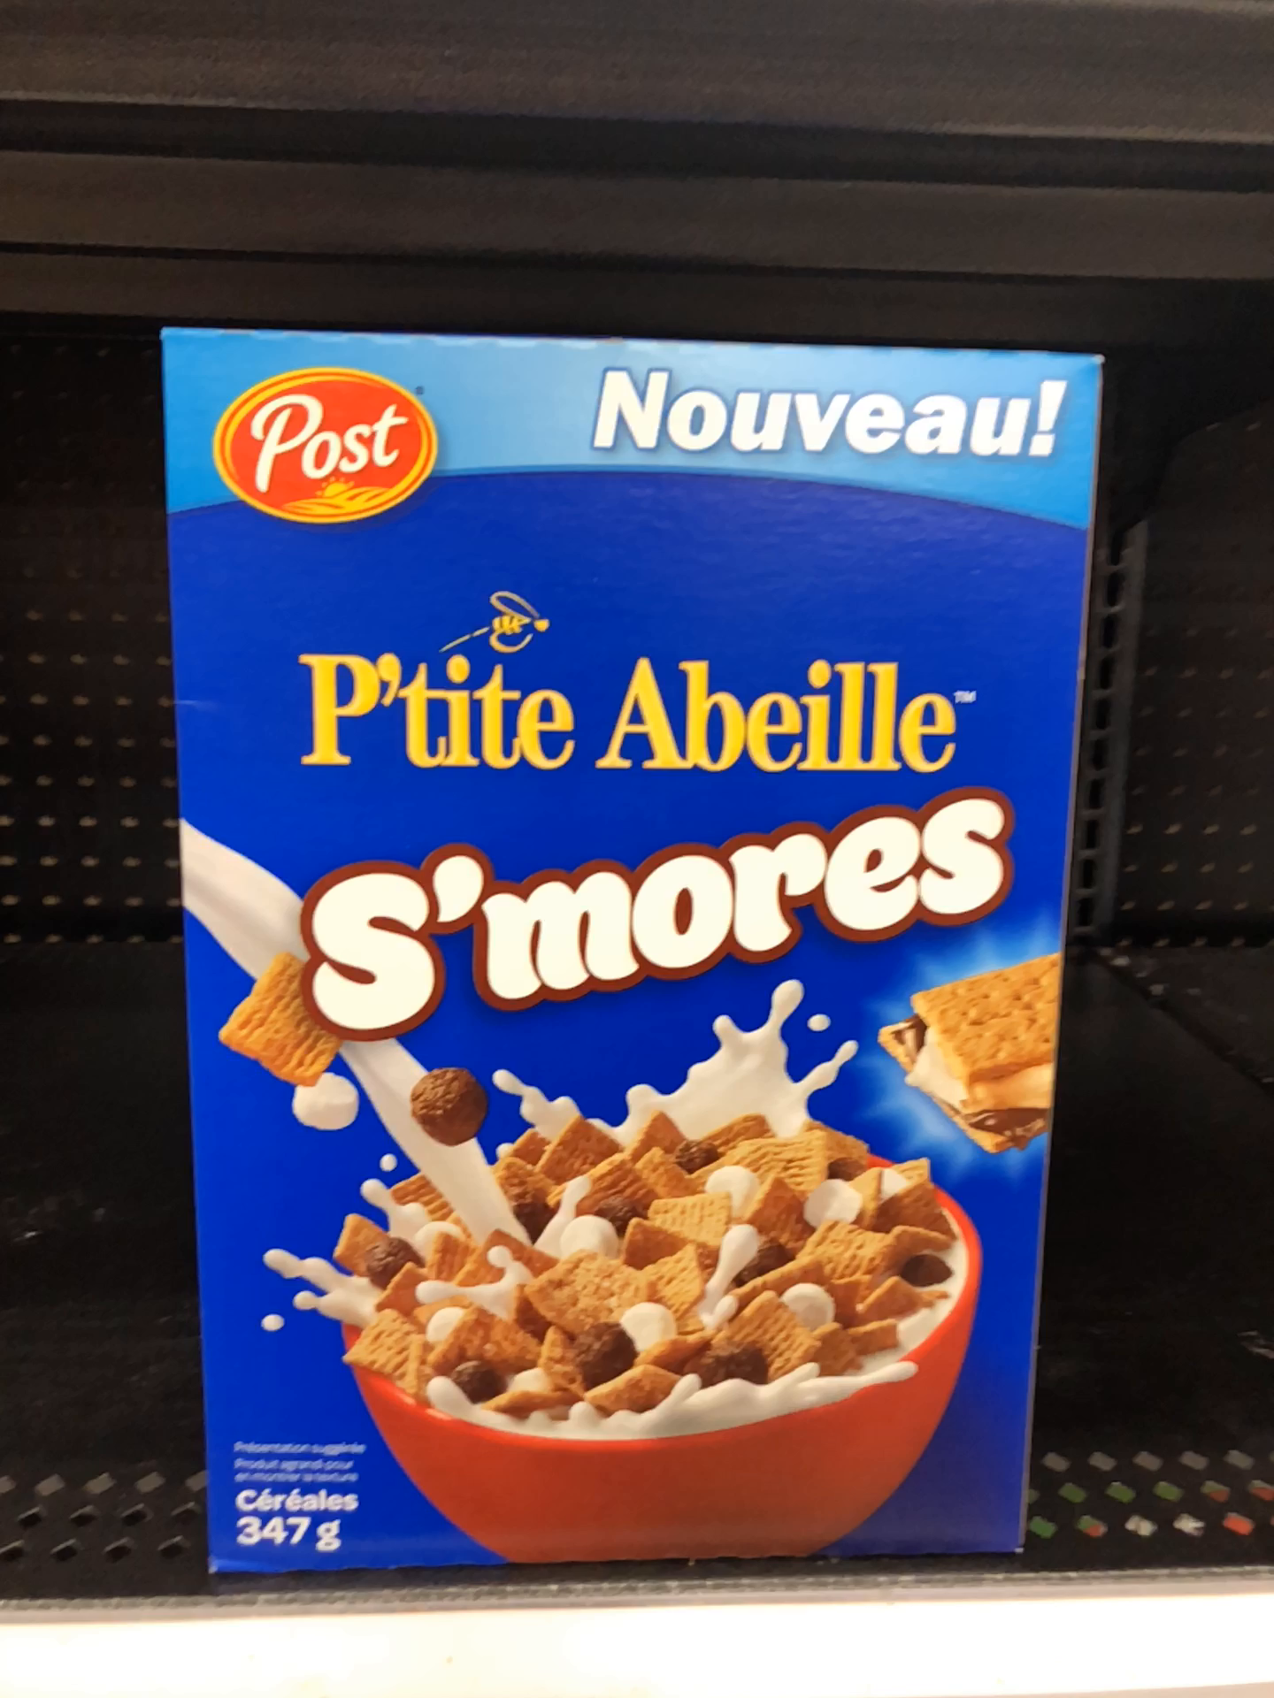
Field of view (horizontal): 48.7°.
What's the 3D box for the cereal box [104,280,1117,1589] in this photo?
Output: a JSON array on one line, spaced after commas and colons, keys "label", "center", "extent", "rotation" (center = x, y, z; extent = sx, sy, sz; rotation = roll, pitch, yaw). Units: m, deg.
[{"label": "cereal box", "center": [-0.007, 0.023, 0.331], "extent": [0.200, 0.279, 0.060], "rotation": [0, 10, -5]}]
